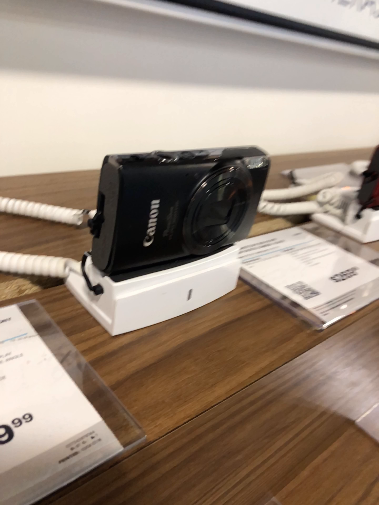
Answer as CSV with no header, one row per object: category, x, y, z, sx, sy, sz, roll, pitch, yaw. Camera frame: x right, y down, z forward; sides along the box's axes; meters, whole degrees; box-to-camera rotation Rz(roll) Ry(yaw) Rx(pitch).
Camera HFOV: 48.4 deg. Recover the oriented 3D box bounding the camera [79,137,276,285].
camera,-0.004,-0.027,0.219,0.100,0.056,0.030,-15,35,-40
